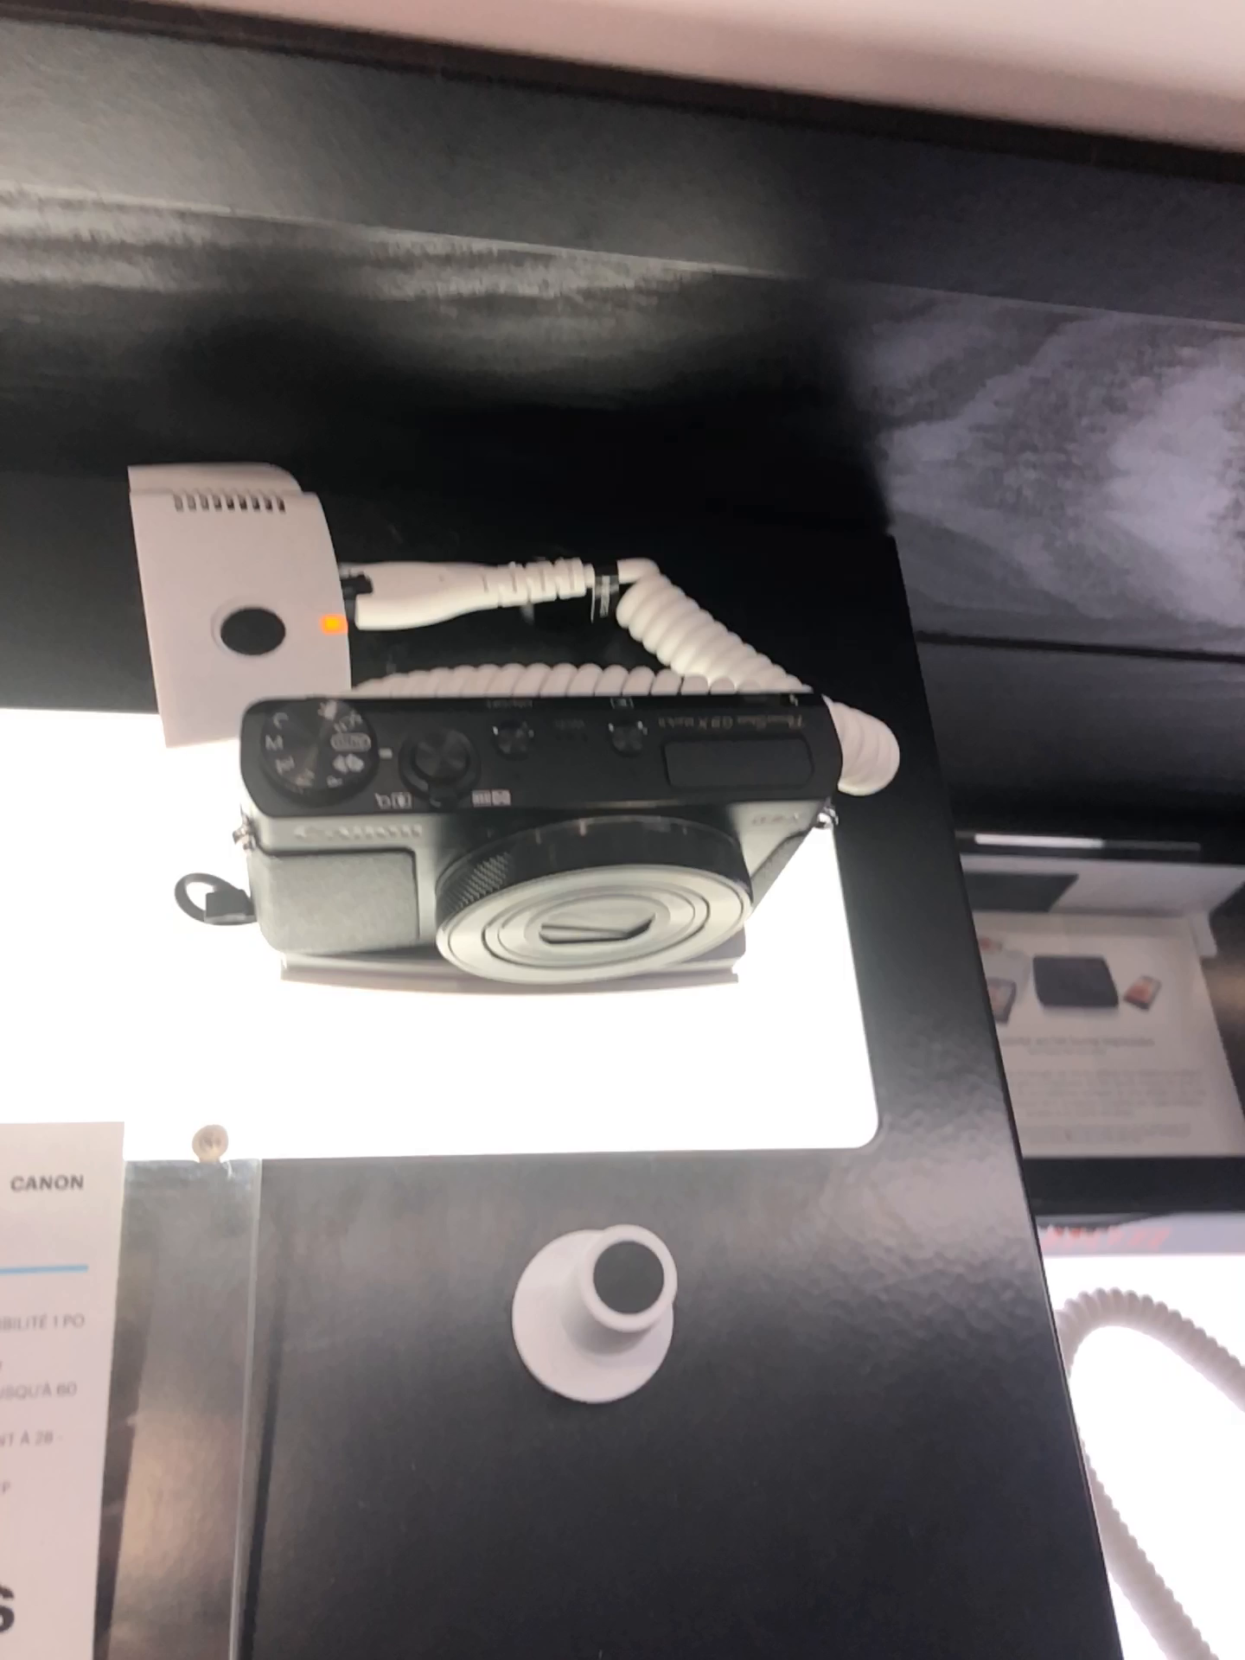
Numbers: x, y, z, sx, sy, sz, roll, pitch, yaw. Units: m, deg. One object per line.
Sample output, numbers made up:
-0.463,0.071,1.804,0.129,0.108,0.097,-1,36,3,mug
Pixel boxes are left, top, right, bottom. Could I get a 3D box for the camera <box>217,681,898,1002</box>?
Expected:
-0.014,0.003,0.230,0.100,0.059,0.025,-2,61,-14,camera
